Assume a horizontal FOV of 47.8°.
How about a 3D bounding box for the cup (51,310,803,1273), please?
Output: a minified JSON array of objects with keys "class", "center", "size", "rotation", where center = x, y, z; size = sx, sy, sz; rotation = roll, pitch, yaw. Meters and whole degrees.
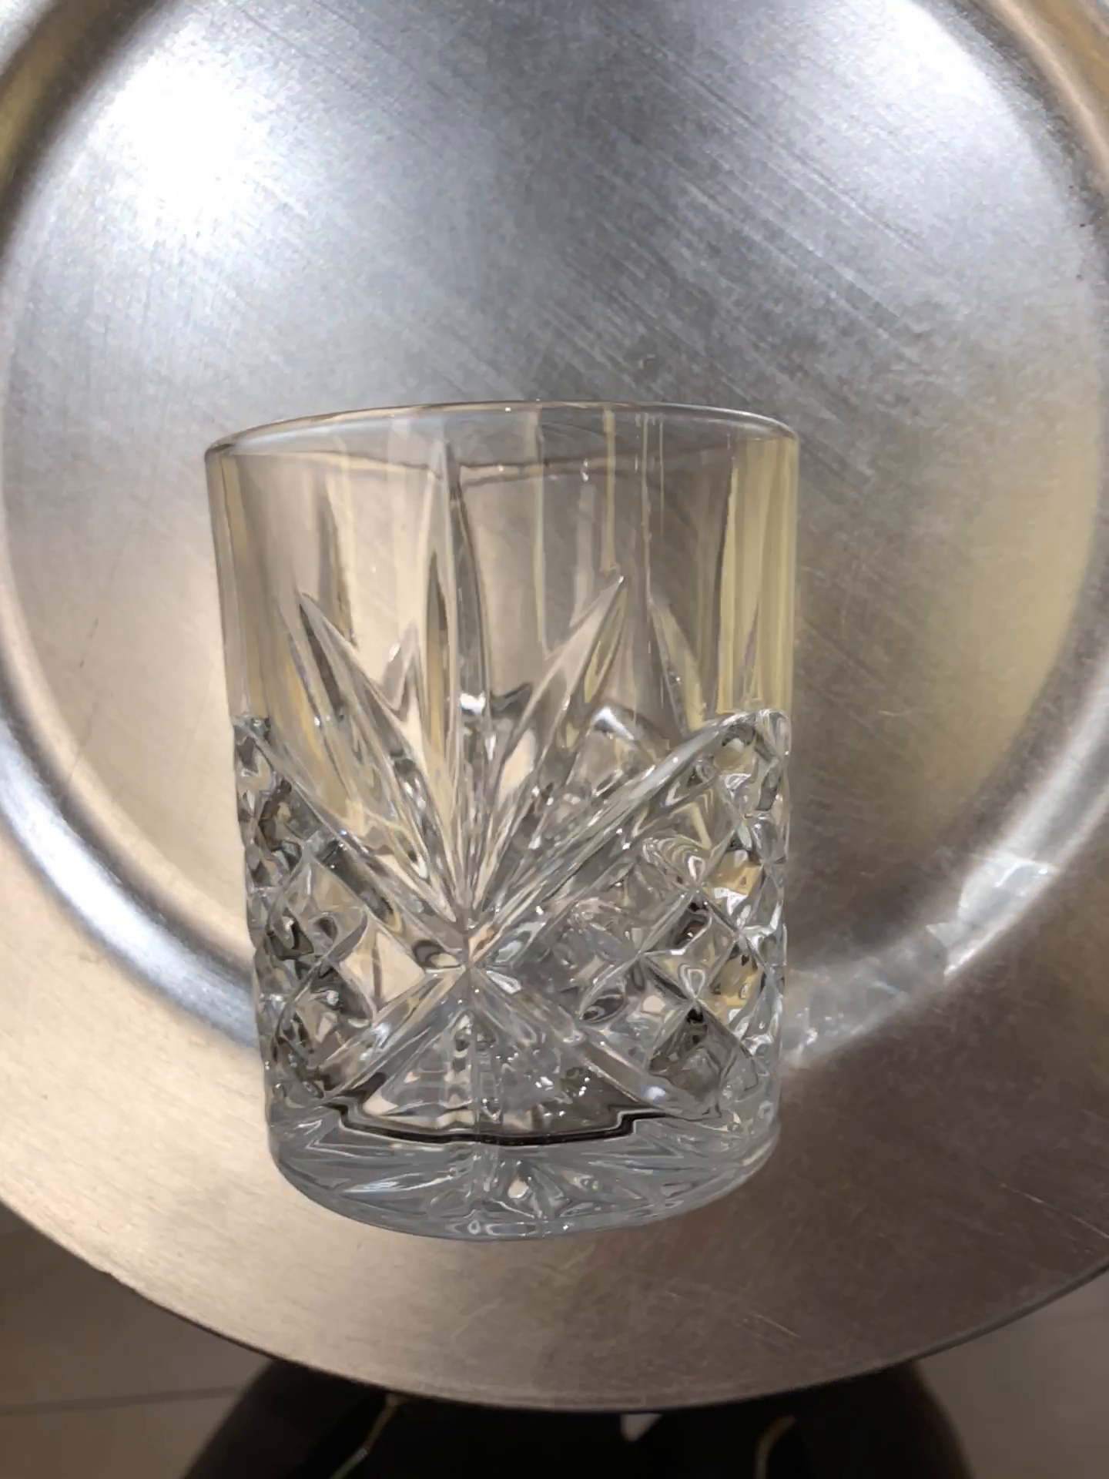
[{"class":"cup","center":[-0.009,0.005,0.166],"size":[0.080,0.060,0.100],"rotation":[-1,96,11]}]
